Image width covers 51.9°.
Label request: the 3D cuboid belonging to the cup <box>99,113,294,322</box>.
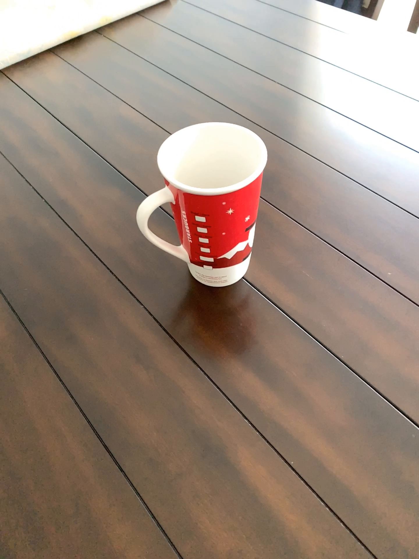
[{"bbox_3d":[-0.009,-0.065,0.436,0.130,0.120,0.120,-2,52,3],"label":"cup"}]

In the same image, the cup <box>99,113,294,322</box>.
[{"bbox_3d":[-0.009,-0.065,0.436,0.130,0.120,0.120,-2,52,3],"label":"cup"}]
